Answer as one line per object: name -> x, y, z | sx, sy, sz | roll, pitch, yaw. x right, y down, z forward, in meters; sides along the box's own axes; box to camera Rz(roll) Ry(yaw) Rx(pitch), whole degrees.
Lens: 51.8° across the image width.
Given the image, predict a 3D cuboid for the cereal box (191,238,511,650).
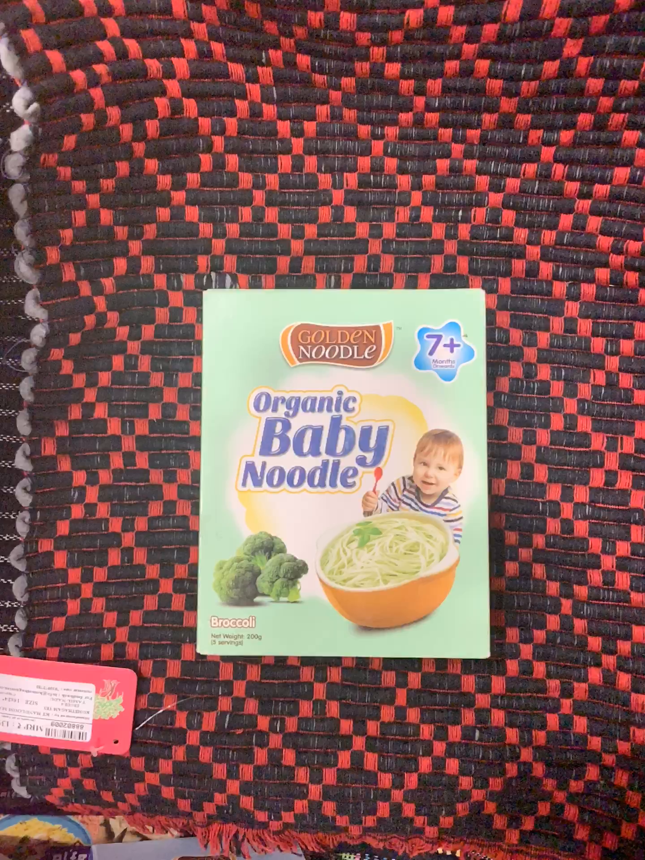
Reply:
cereal box -> 0.012, 0.006, 0.305 | 0.130, 0.060, 0.170 | 0, 86, 1
